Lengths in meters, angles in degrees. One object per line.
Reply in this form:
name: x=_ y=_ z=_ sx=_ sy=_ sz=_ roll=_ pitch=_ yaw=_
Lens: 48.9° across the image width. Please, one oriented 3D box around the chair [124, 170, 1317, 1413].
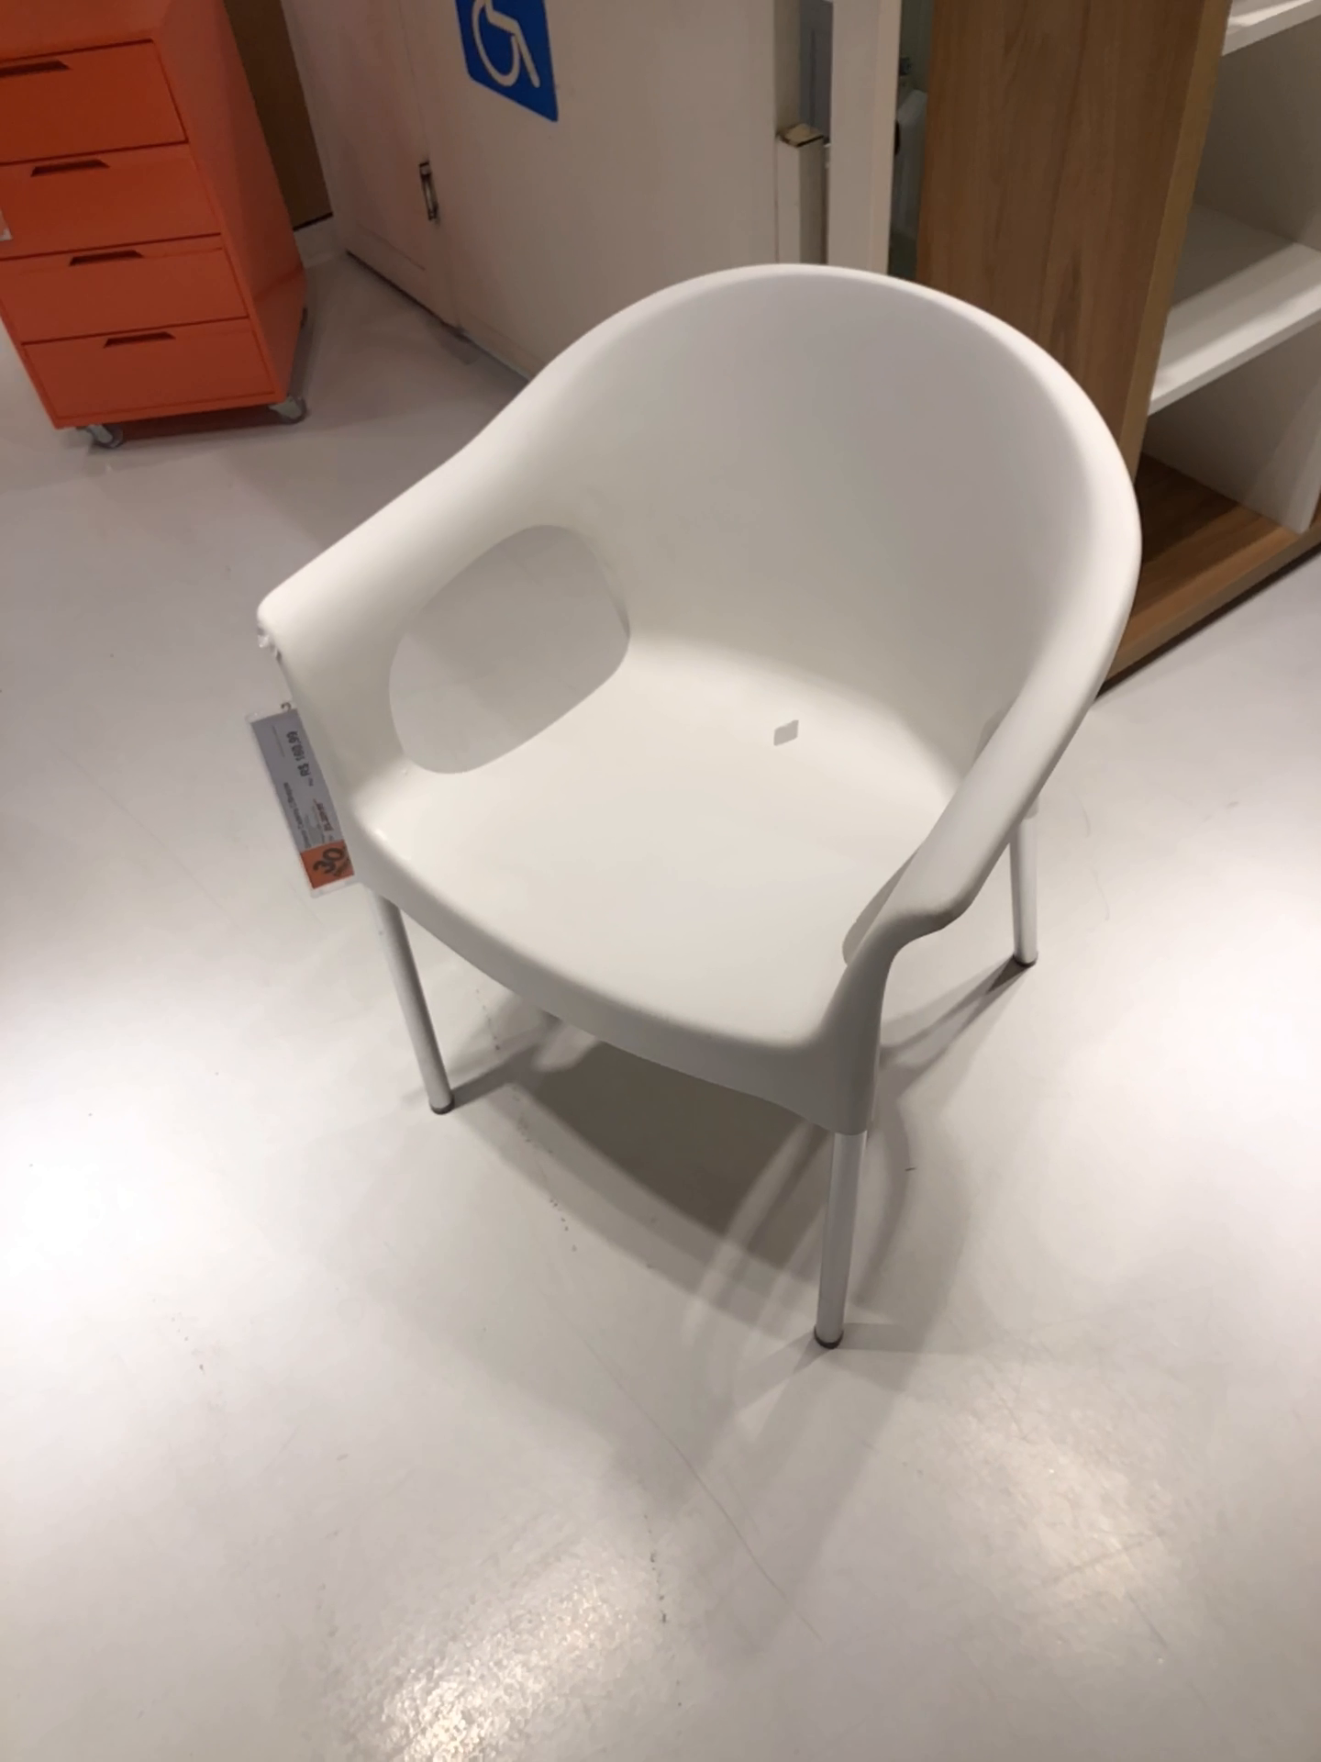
chair: x=0.078 y=-0.085 z=1.310 sx=0.611 sy=0.735 sz=0.613 roll=27 pitch=56 yaw=26
